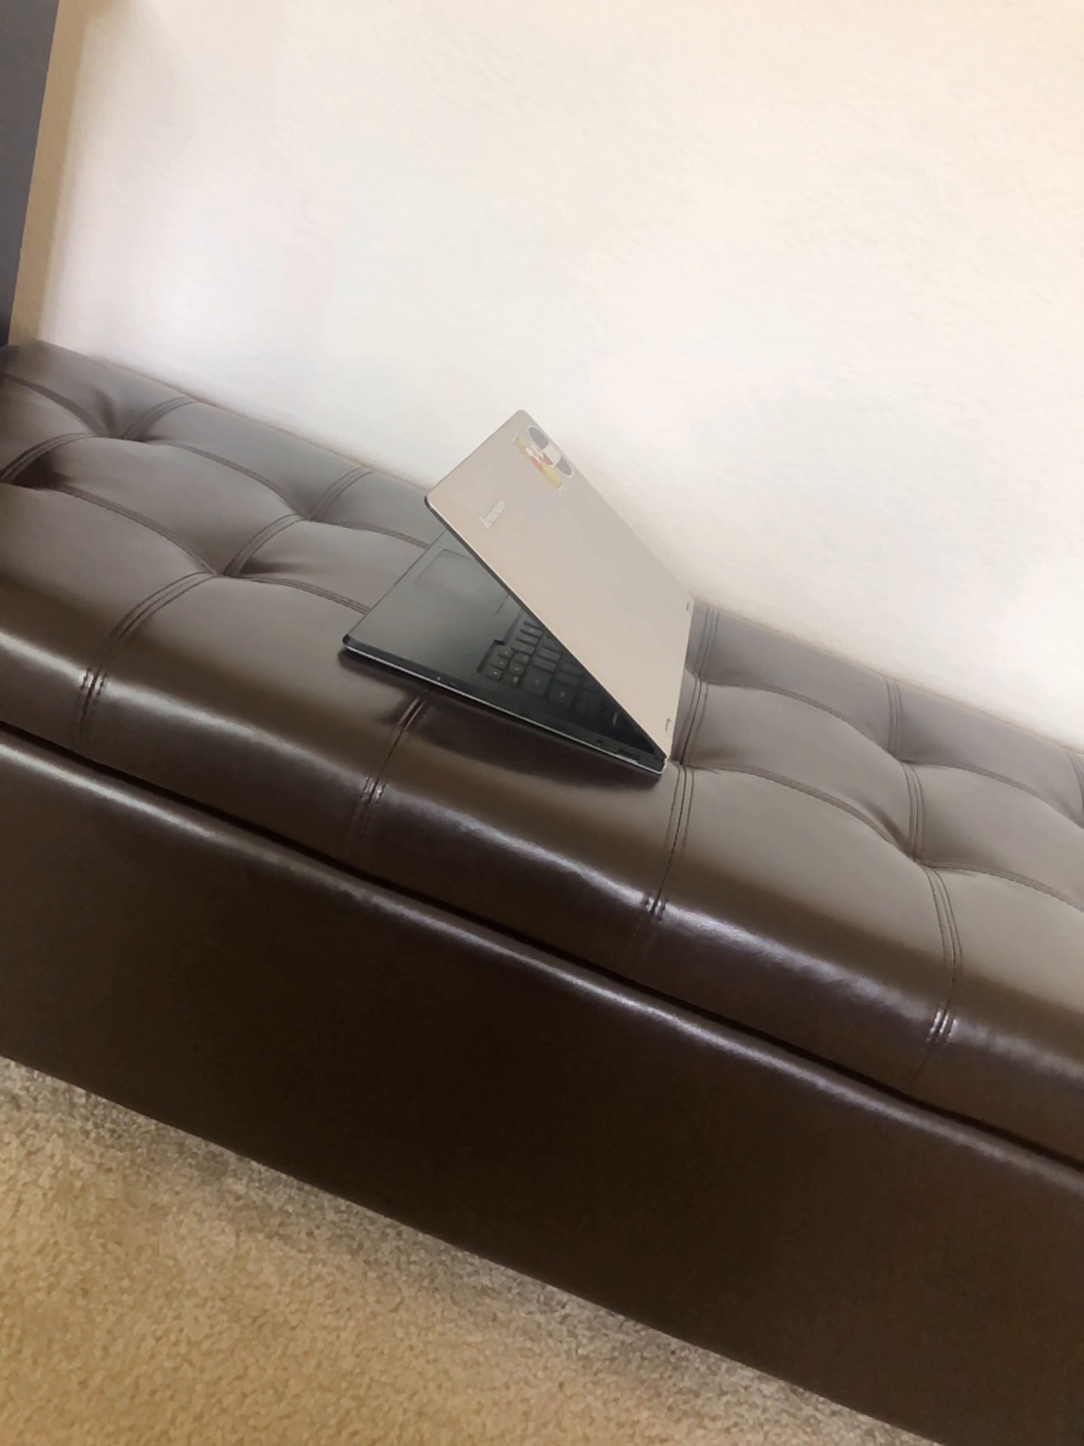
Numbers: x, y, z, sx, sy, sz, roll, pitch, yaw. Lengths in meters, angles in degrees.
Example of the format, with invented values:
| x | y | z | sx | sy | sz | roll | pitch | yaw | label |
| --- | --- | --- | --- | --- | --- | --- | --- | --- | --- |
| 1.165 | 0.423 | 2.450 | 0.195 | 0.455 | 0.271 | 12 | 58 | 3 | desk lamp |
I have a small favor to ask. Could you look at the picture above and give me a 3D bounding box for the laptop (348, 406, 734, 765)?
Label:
| x | y | z | sx | sy | sz | roll | pitch | yaw | label |
| --- | --- | --- | --- | --- | --- | --- | --- | --- | --- |
| 0.017 | -0.111 | 0.813 | 0.197 | 0.097 | 0.294 | 21 | 25 | 1 | laptop |
